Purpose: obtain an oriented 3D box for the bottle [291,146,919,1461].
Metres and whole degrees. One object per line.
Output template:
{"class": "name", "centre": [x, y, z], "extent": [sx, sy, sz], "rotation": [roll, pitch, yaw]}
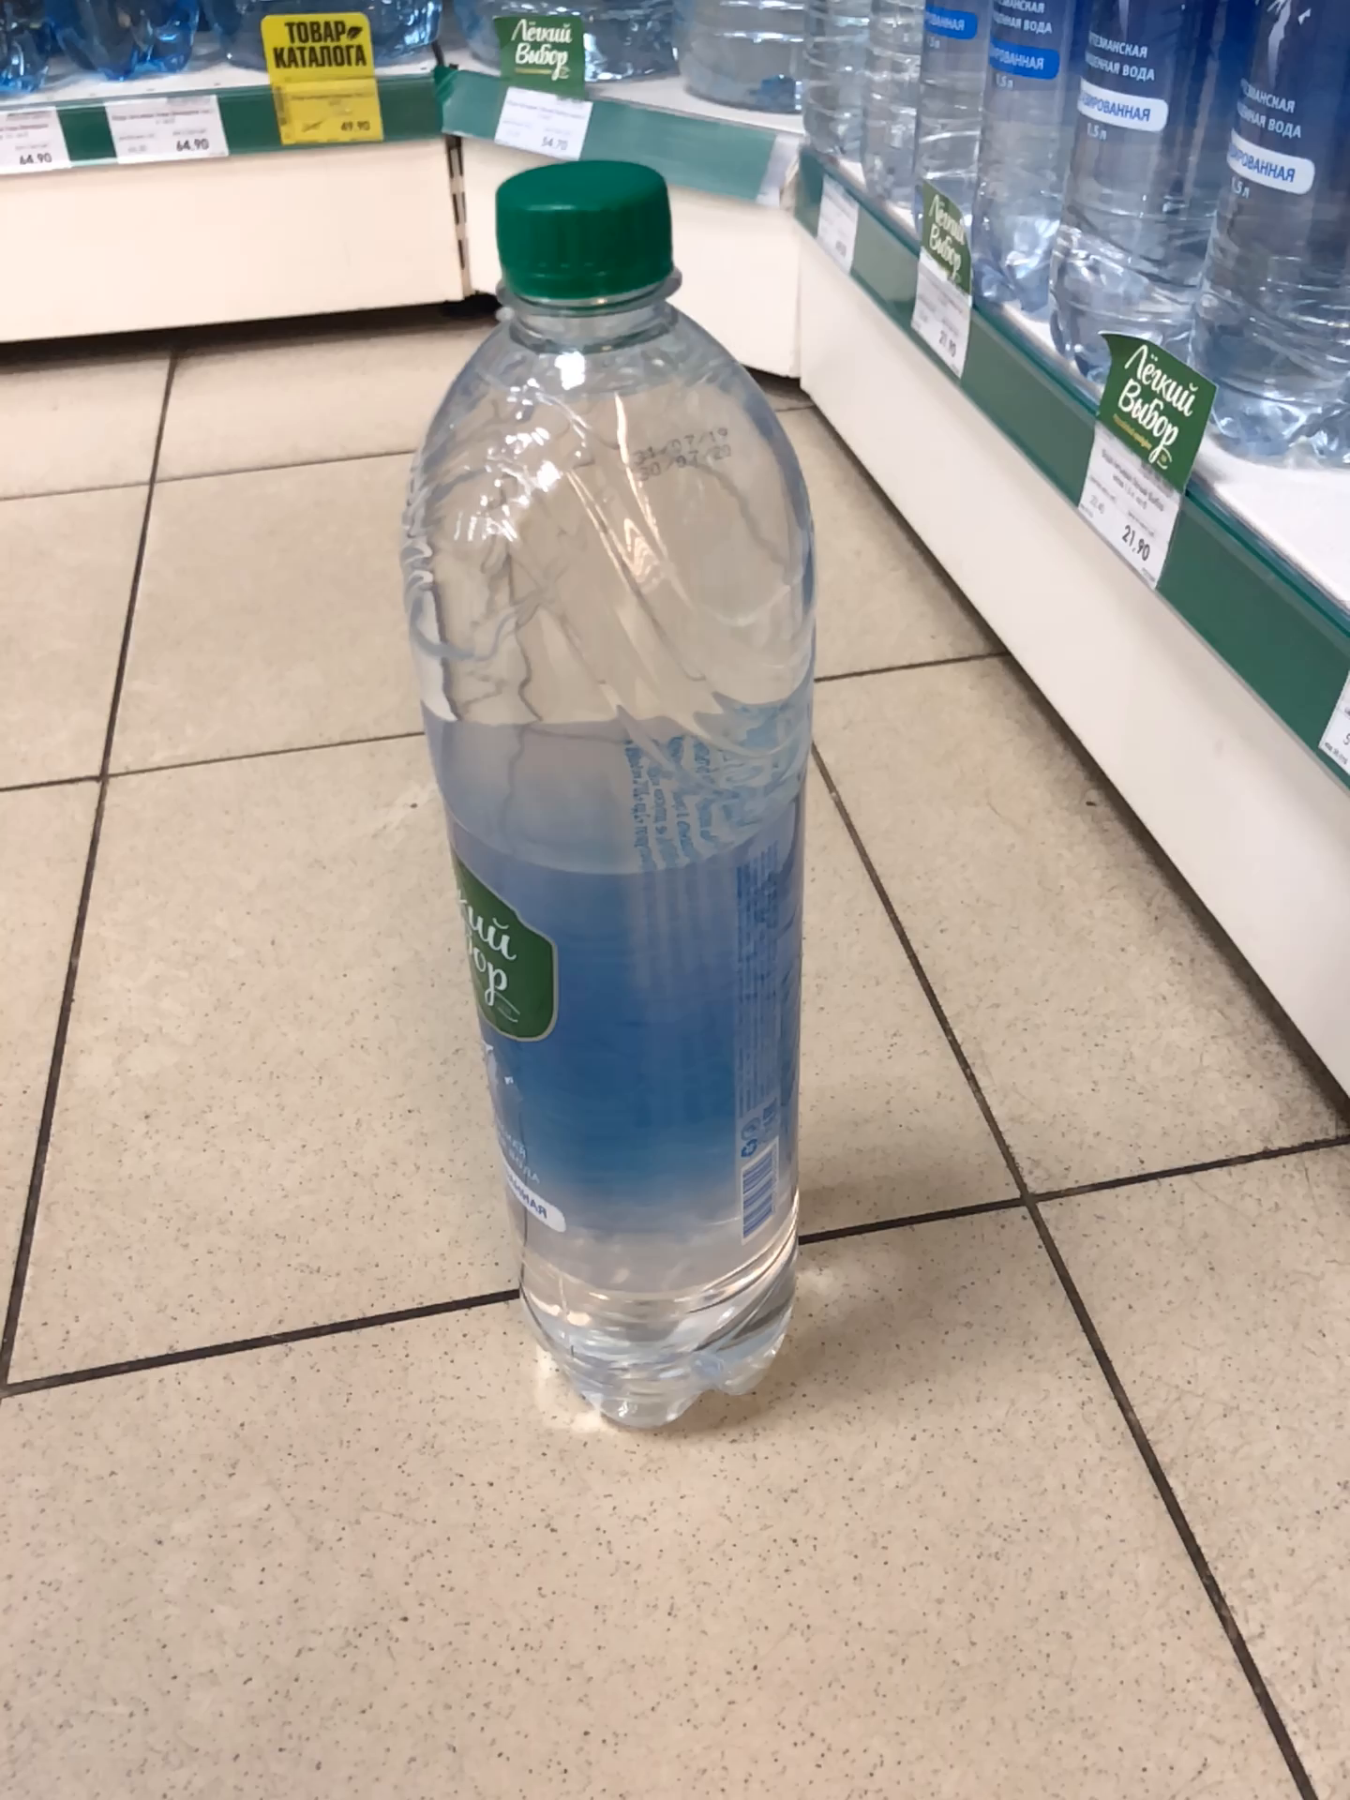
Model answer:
{"class": "bottle", "centre": [-0.011, 0.000, 0.352], "extent": [0.086, 0.299, 0.089], "rotation": [-2, 40, 1]}
